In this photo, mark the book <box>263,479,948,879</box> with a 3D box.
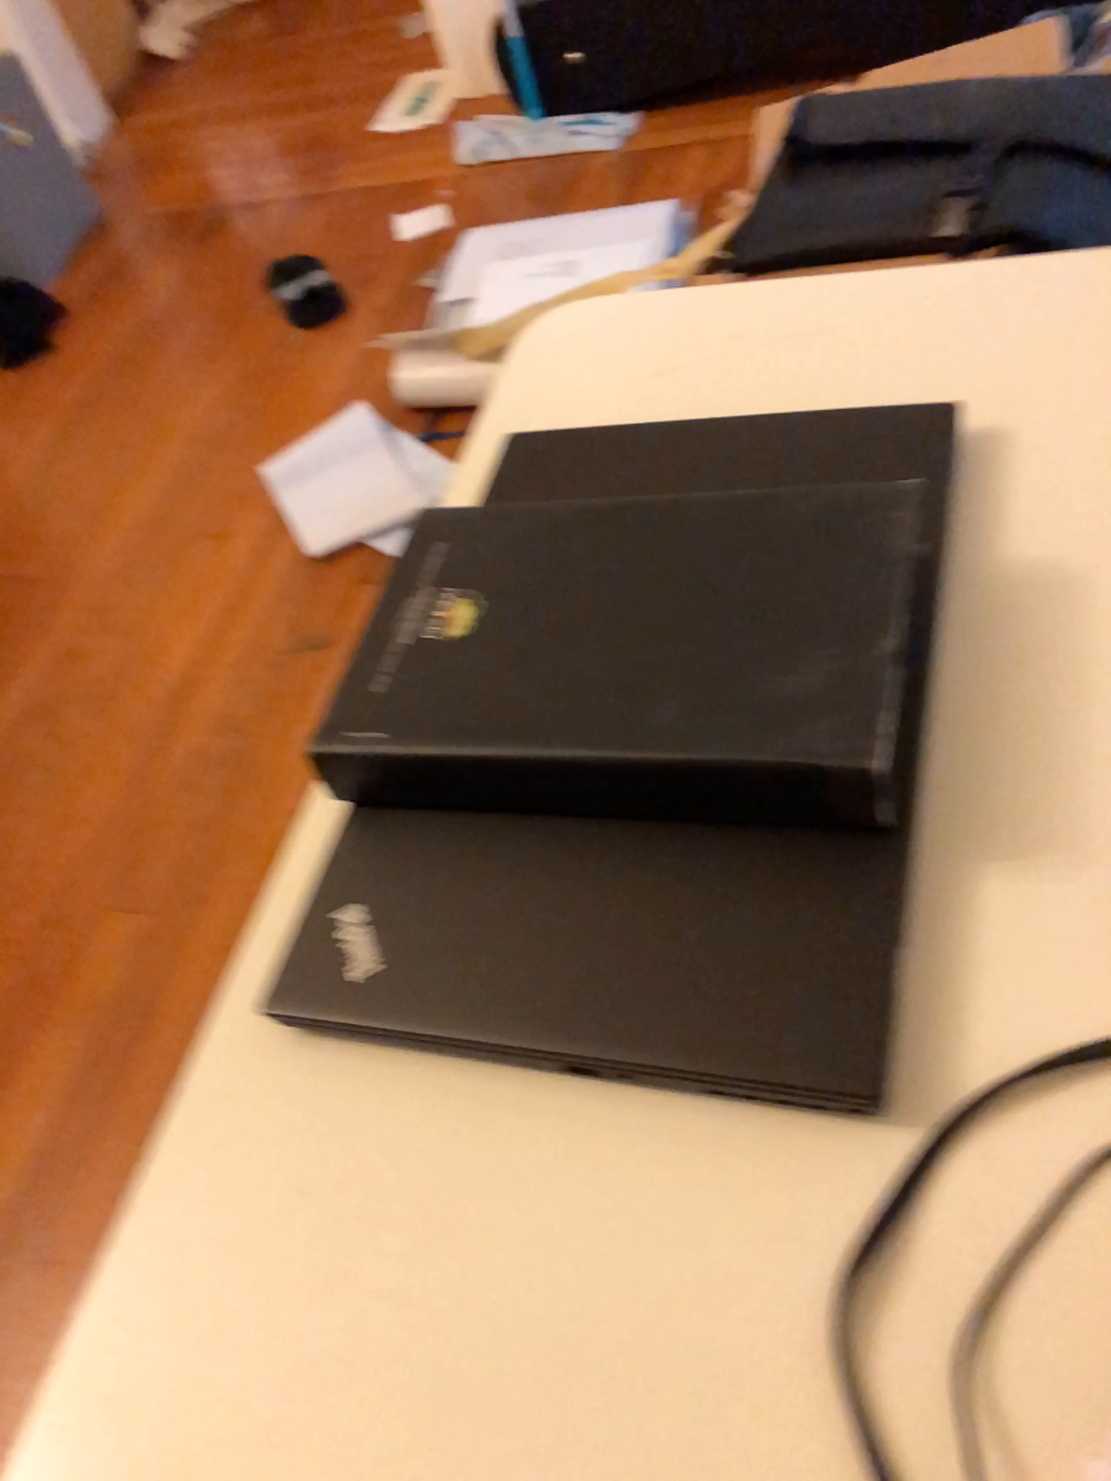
[{"bbox_3d":[0.024,-0.031,0.468,0.230,0.040,0.151,3,52,21],"label":"book"}]
